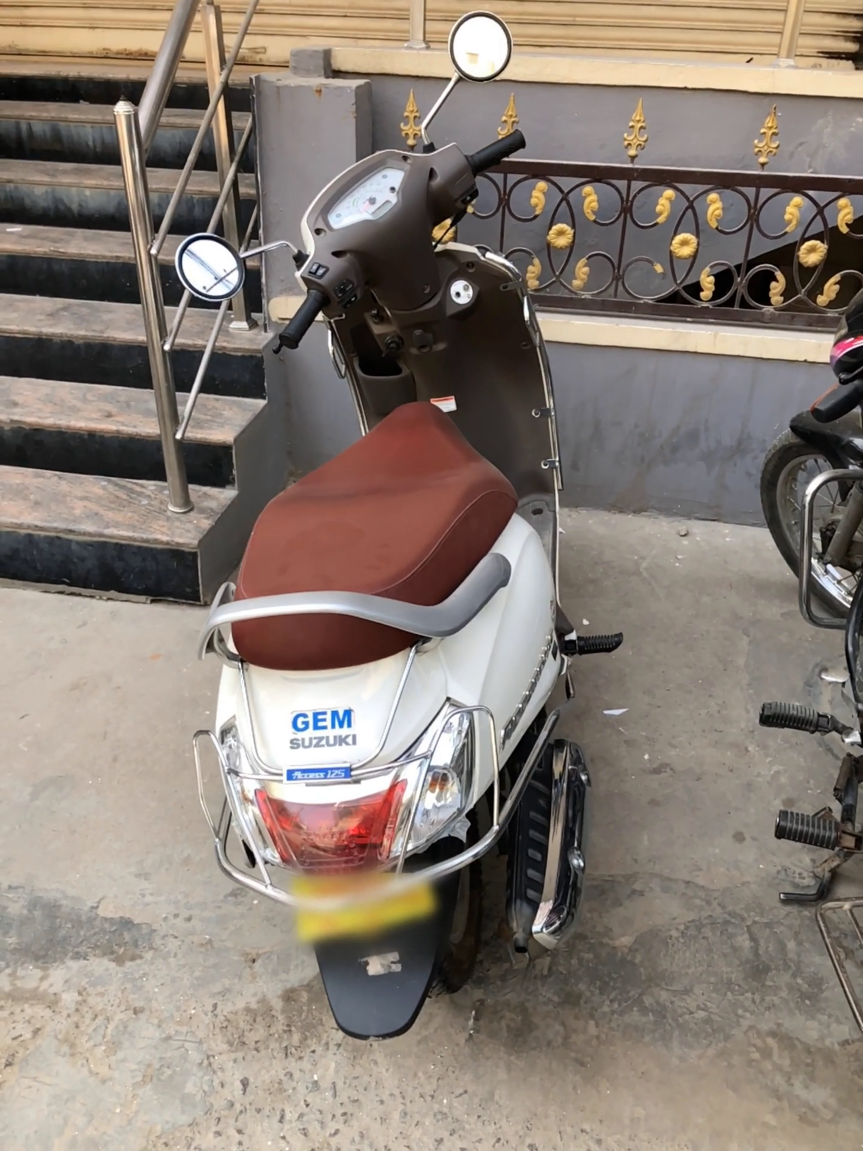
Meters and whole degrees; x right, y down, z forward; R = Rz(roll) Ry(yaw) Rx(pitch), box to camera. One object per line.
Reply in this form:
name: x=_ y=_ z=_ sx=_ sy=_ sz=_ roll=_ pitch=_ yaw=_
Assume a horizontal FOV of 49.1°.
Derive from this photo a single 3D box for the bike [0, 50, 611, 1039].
bike: x=-0.113 y=-0.222 z=1.828 sx=0.597 sy=1.194 sz=1.494 roll=2 pitch=34 yaw=1
